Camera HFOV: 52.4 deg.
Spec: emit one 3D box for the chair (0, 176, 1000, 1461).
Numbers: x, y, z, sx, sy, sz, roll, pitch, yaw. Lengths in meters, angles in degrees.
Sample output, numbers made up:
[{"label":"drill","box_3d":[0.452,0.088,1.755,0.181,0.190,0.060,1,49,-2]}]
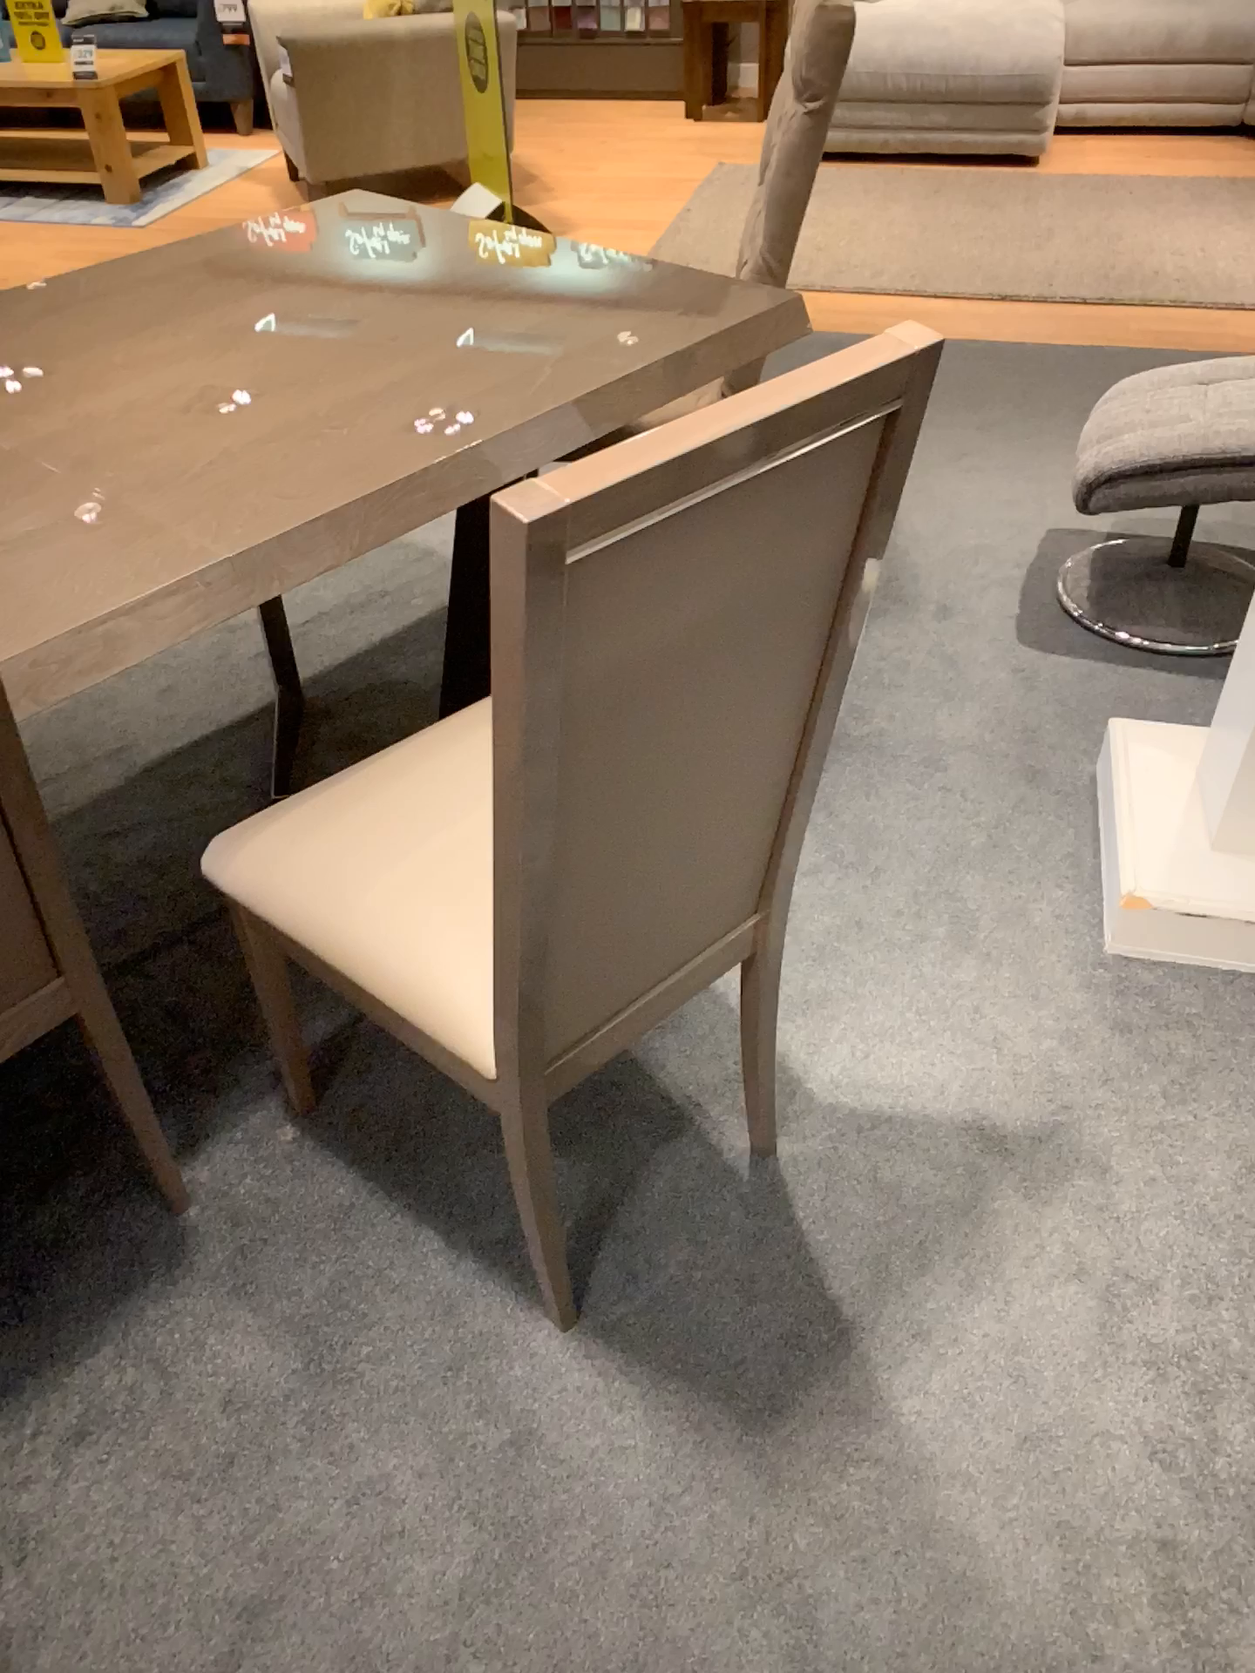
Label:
[{"label":"chair","box_3d":[-0.108,-0.023,1.229,0.588,0.946,0.541,29,49,33]}]
